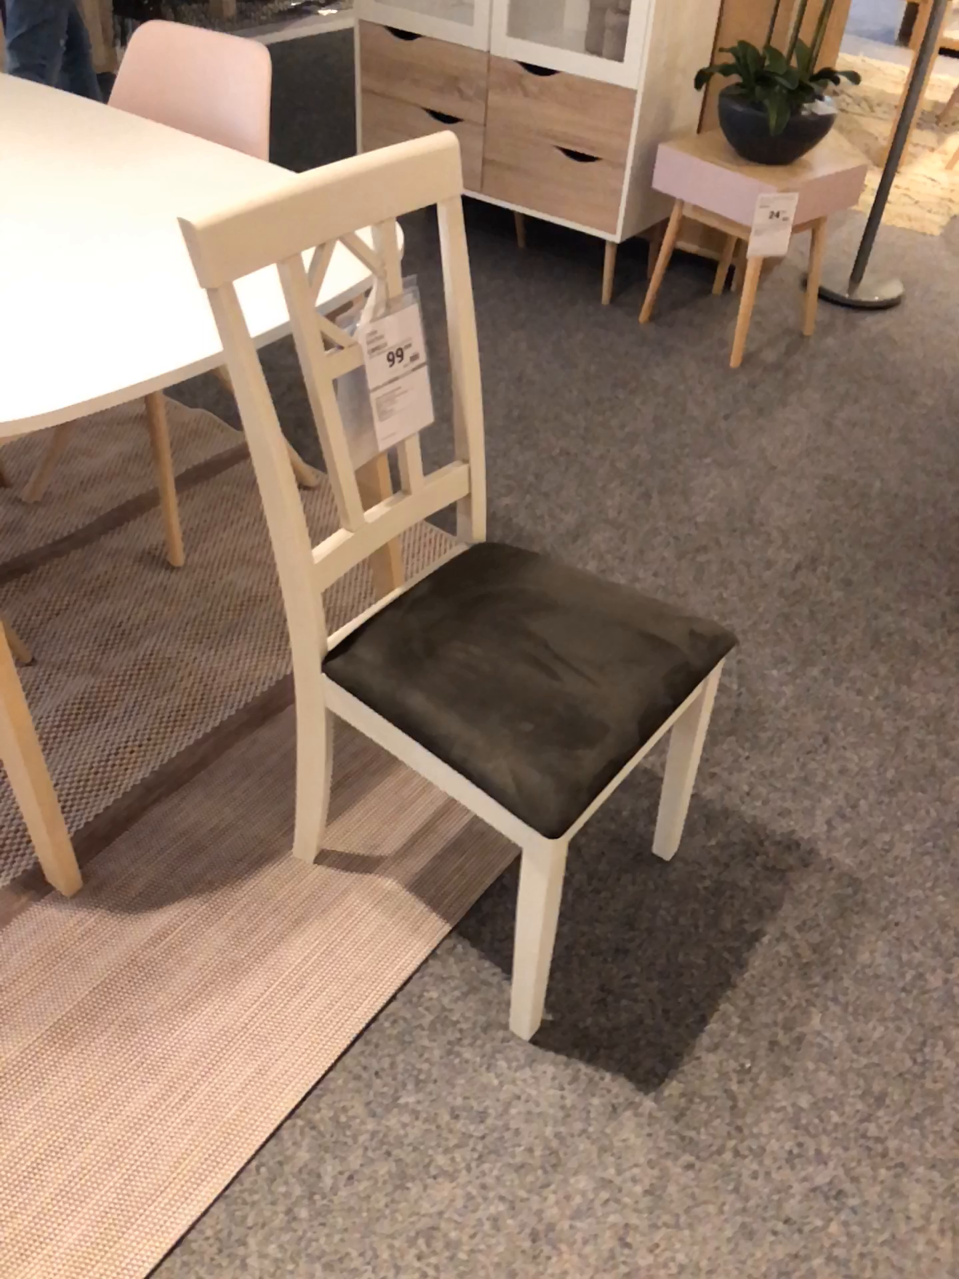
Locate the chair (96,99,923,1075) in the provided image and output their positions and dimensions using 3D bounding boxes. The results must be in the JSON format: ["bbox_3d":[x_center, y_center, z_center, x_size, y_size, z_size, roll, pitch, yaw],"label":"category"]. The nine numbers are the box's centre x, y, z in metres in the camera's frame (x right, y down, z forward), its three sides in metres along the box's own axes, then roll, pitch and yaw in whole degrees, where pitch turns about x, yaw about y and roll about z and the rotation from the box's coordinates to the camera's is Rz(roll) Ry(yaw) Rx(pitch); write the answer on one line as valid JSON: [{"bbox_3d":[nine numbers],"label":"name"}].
[{"bbox_3d":[0.017,-0.063,1.232,0.560,0.855,0.513,28,46,25],"label":"chair"}]
